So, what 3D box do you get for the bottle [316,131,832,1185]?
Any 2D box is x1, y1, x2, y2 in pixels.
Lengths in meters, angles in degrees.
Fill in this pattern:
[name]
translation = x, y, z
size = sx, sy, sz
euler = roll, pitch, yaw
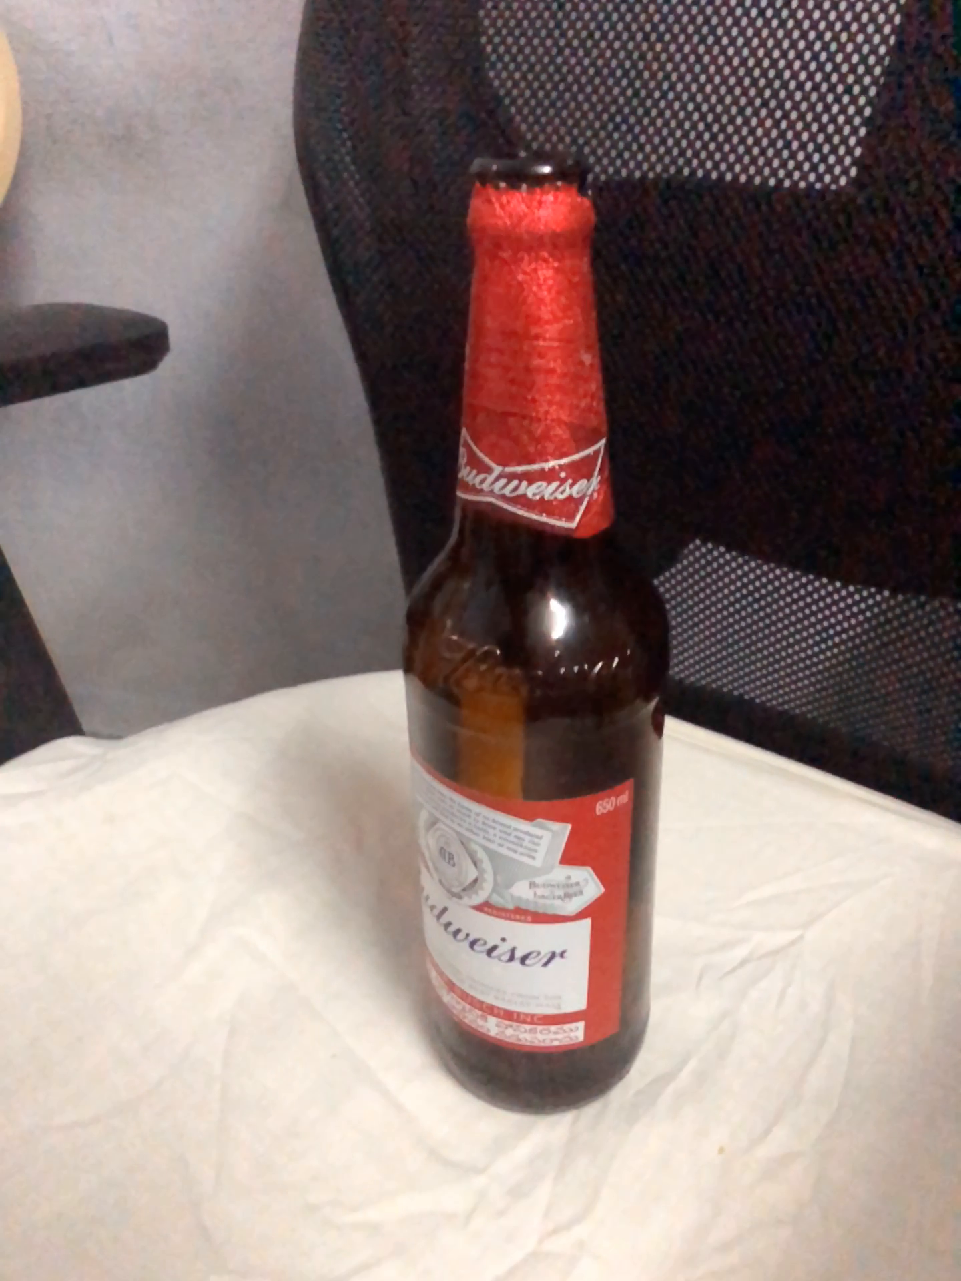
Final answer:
[bottle]
translation = 0.022, 0.020, 0.294
size = 0.080, 0.279, 0.070
euler = 23, 40, 33
